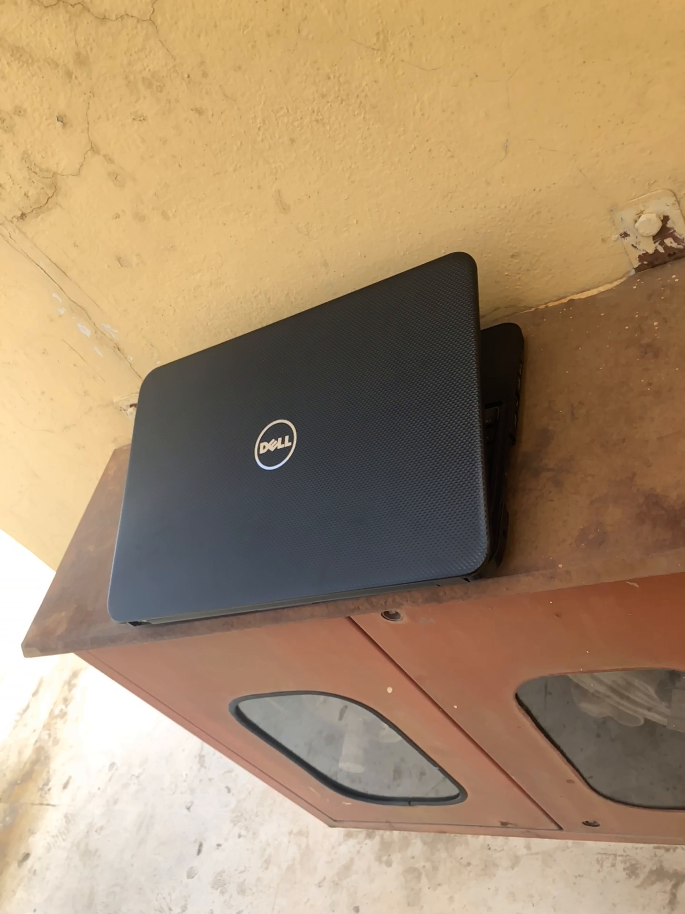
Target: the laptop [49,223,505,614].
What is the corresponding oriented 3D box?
[{"bbox_3d":[-0.058,-0.010,0.593,0.353,0.098,0.183,-14,51,33],"label":"laptop"}]
